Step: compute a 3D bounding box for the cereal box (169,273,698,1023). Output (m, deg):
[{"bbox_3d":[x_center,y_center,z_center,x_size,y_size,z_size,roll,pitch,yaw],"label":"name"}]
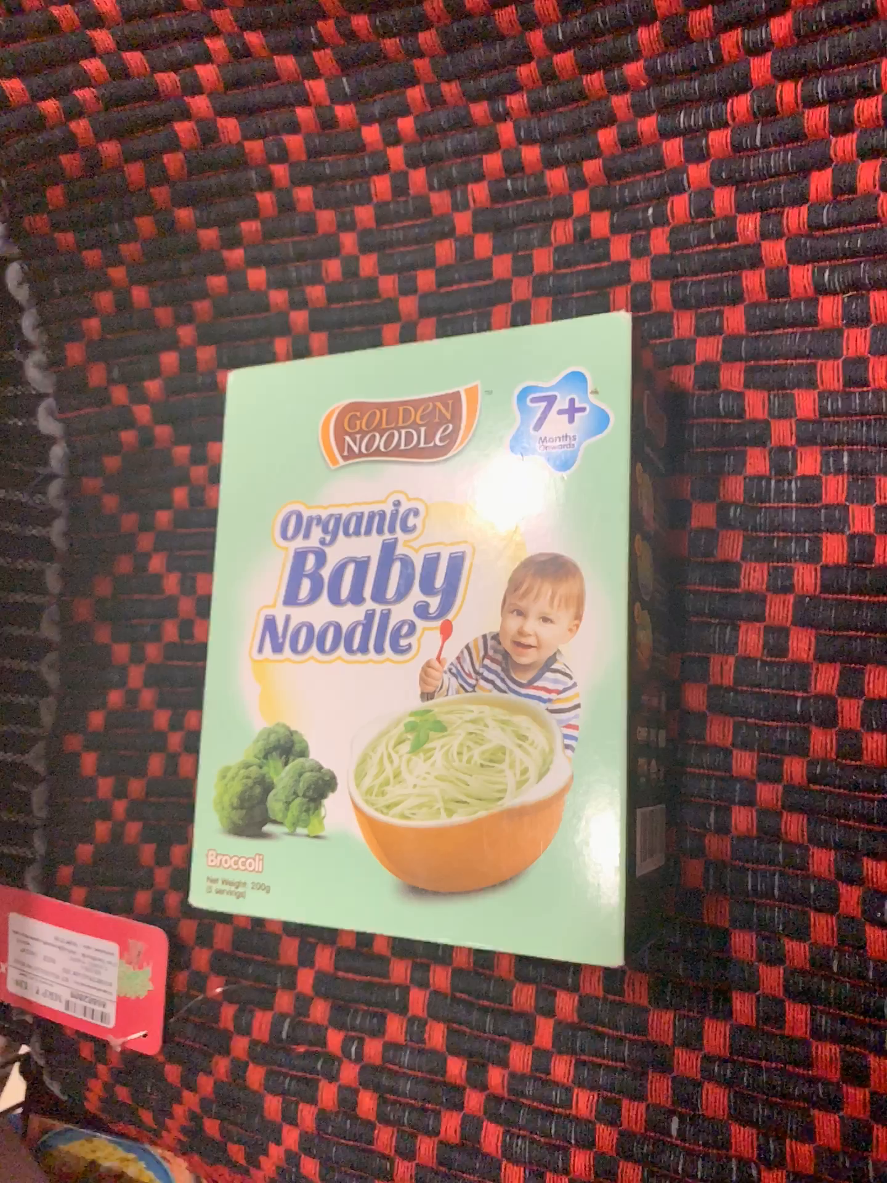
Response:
[{"bbox_3d":[0.001,0.014,0.262,0.130,0.060,0.170,-2,81,24],"label":"cereal box"}]
